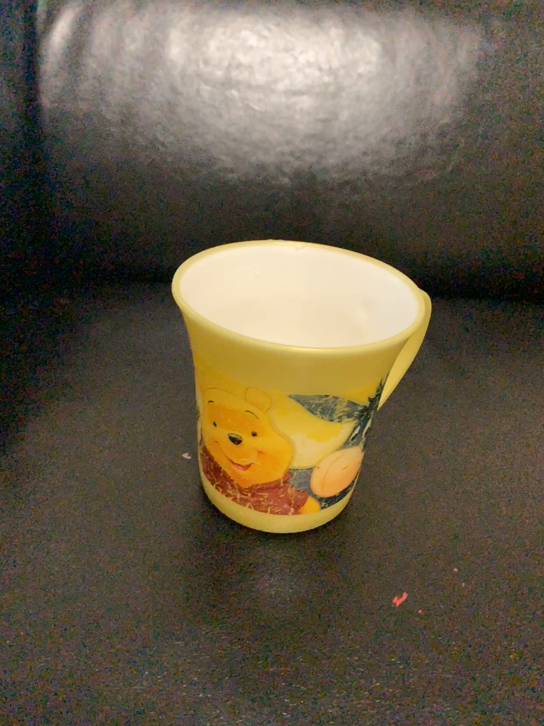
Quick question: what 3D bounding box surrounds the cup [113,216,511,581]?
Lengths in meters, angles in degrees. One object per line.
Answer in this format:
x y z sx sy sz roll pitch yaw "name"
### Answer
0.016 0.000 0.229 0.120 0.080 0.090 -23 40 -39 "cup"
